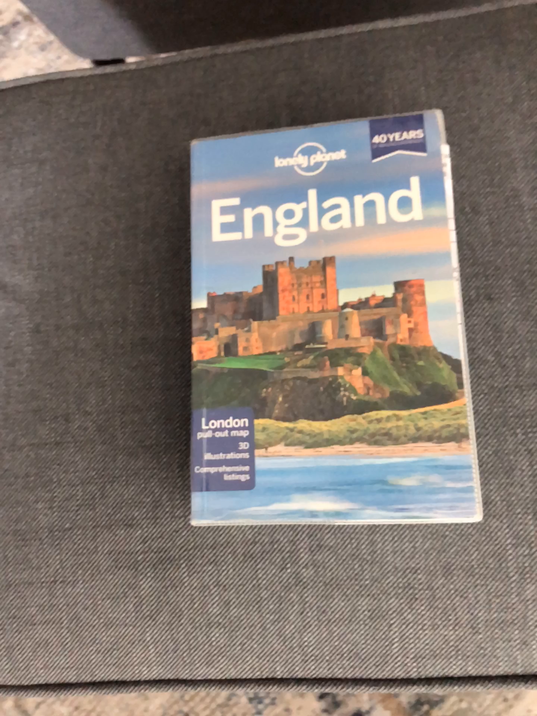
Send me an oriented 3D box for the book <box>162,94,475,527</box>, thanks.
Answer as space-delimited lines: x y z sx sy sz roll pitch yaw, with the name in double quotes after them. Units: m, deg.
0.021 -0.021 0.300 0.135 0.040 0.200 -3 77 12 "book"
